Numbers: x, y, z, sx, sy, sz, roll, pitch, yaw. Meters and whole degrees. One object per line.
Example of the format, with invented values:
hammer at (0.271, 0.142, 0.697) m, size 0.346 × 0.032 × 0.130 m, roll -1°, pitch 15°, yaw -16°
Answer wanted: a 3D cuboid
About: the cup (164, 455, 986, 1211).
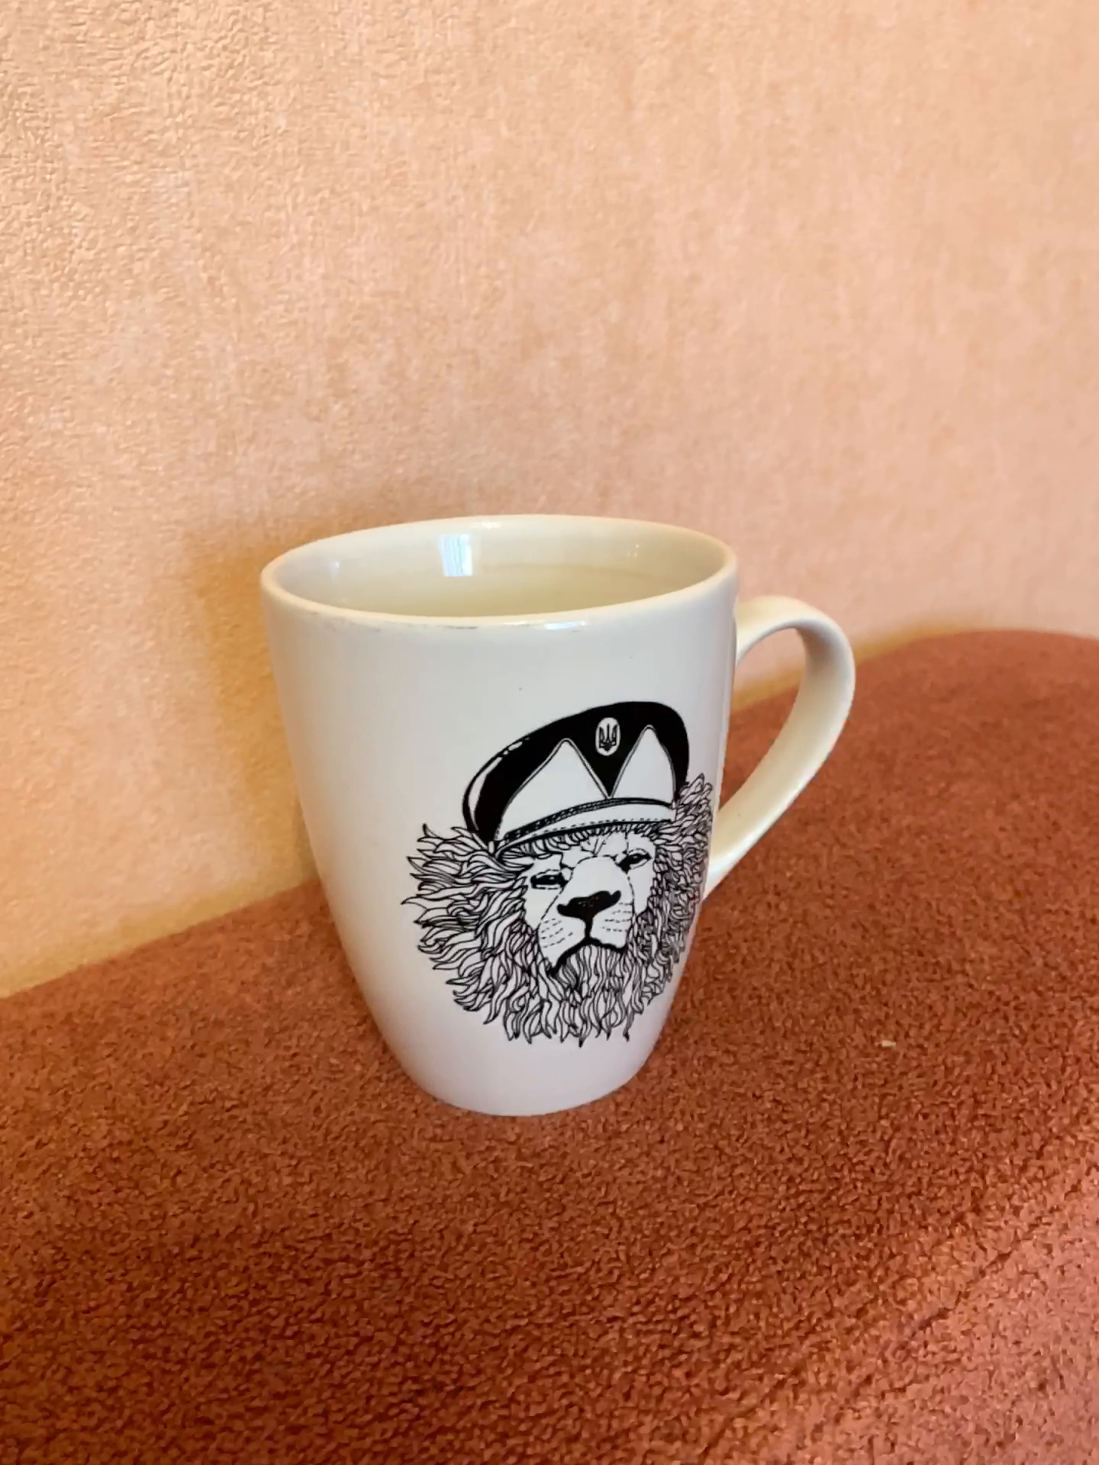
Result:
cup at (-0.001, 0.005, 0.241) m, size 0.126 × 0.095 × 0.106 m, roll -12°, pitch 25°, yaw -21°
